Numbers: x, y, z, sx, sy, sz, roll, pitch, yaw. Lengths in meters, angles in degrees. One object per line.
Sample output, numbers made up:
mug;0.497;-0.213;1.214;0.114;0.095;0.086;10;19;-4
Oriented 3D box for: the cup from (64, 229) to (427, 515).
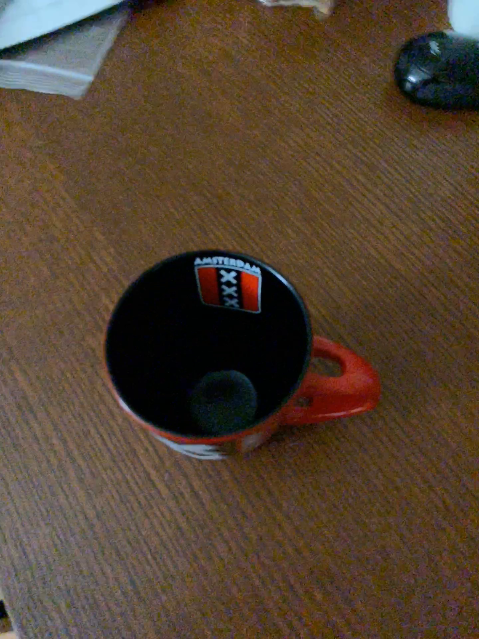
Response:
cup;0.009;0.031;0.238;0.130;0.100;0.090;8;64;7
